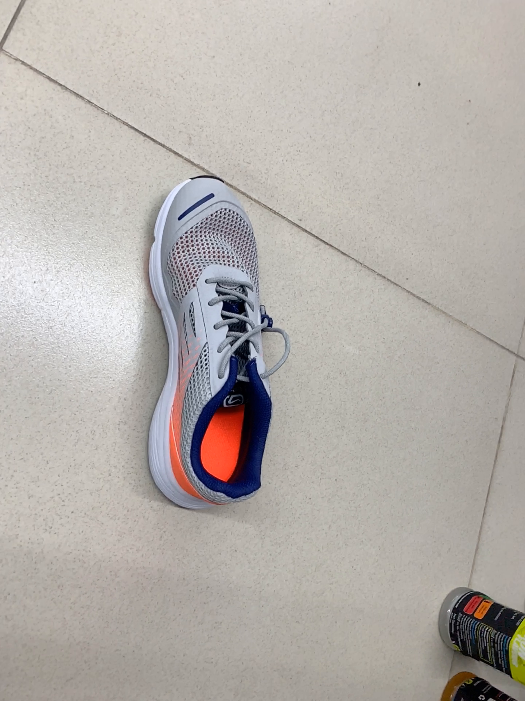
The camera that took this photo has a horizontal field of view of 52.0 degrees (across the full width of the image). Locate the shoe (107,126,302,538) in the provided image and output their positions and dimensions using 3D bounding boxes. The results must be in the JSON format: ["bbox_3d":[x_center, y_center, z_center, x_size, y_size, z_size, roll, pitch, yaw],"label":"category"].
[{"bbox_3d":[-0.044,-0.009,0.394,0.100,0.100,0.250,4,87,-30],"label":"shoe"}]
